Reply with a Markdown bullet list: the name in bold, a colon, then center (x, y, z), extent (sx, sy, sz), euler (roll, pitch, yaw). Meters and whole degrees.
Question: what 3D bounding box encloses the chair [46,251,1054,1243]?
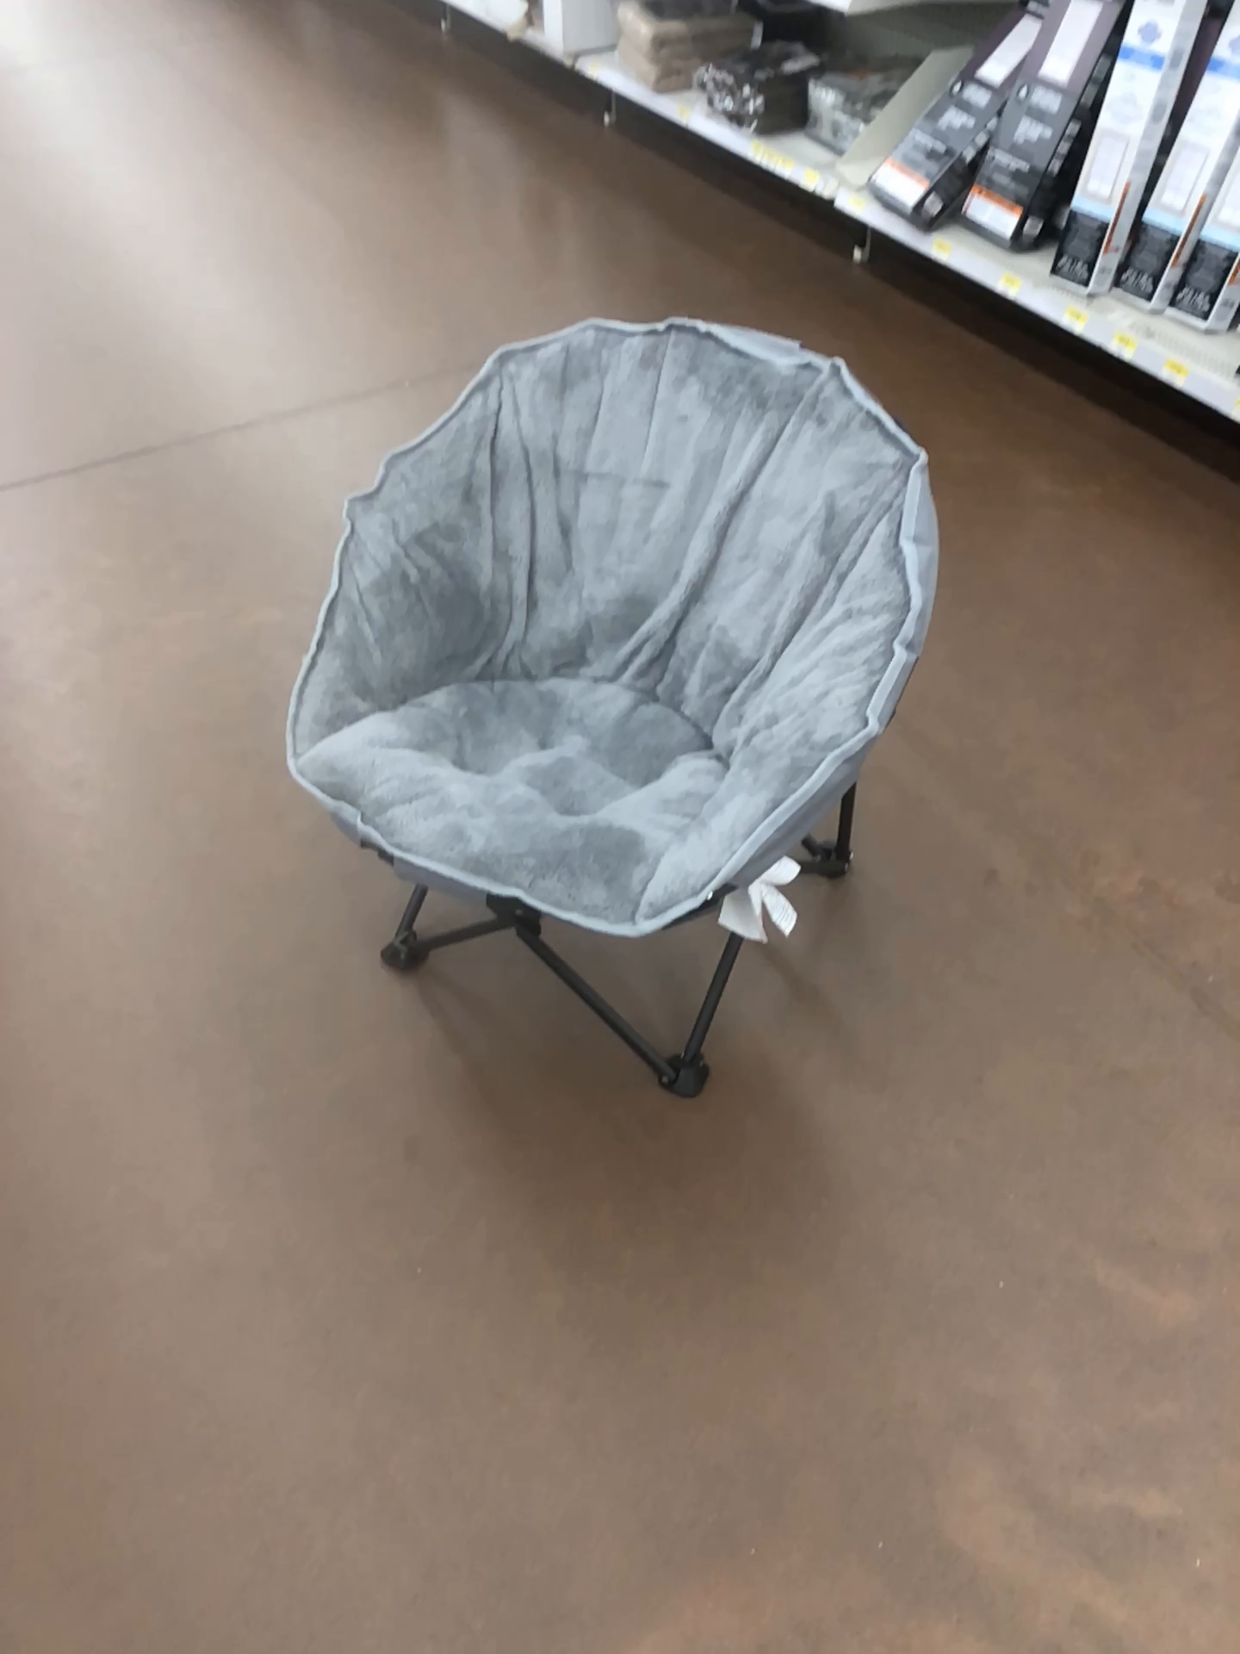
- **chair**: center (-0.016, -0.123, 1.285), extent (0.571, 0.528, 0.632), euler (20, 47, 23)
